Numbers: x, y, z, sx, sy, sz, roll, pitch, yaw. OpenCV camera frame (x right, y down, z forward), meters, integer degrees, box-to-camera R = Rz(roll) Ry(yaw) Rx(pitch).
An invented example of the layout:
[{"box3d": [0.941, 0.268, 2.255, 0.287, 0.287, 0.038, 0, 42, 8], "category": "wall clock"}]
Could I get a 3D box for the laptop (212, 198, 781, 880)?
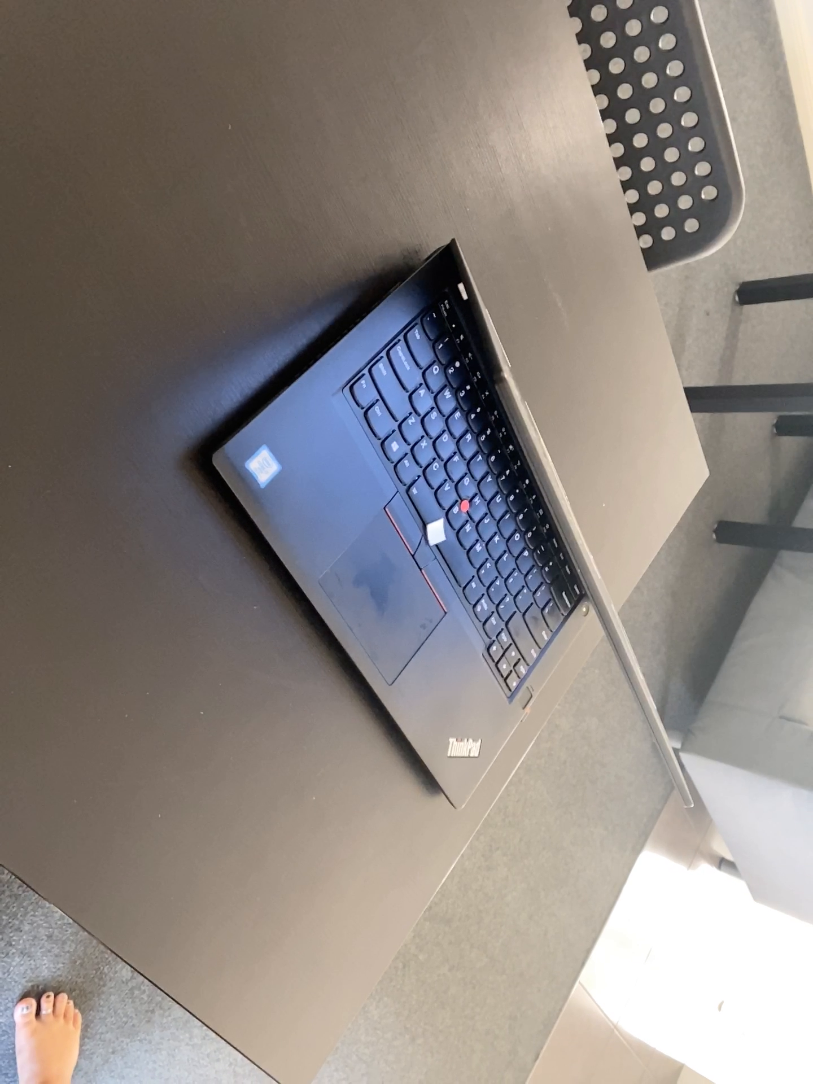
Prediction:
[{"box3d": [0.081, 0.005, 0.491, 0.216, 0.138, 0.300, -50, 127, -27], "category": "laptop"}]
